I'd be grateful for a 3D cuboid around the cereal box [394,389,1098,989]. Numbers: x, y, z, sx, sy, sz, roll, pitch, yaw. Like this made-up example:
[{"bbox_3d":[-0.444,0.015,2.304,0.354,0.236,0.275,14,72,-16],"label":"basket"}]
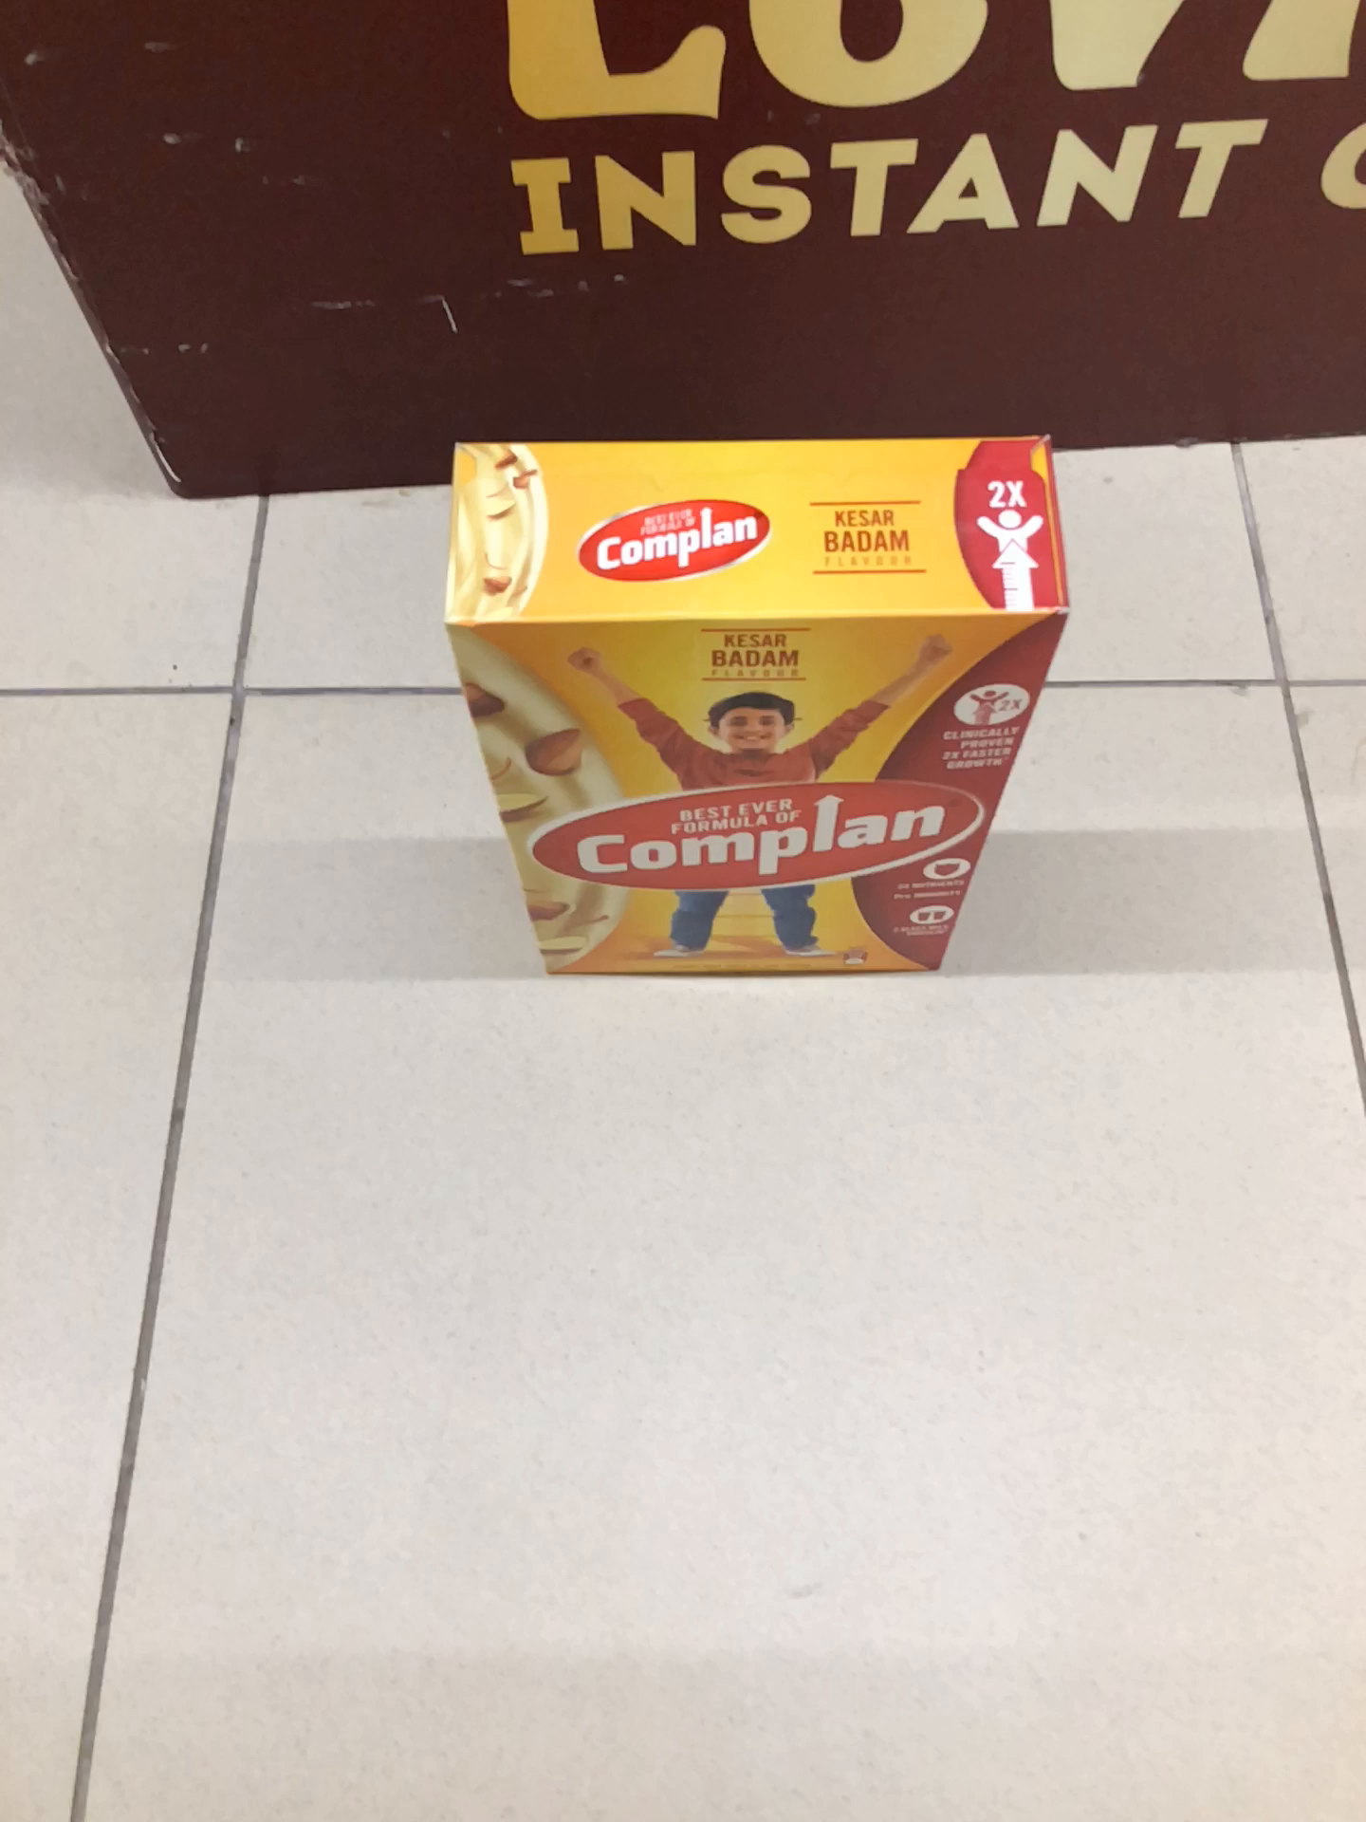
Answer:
[{"bbox_3d":[0.016,-0.046,0.433,0.150,0.219,0.060,-1,66,1],"label":"cereal box"}]
